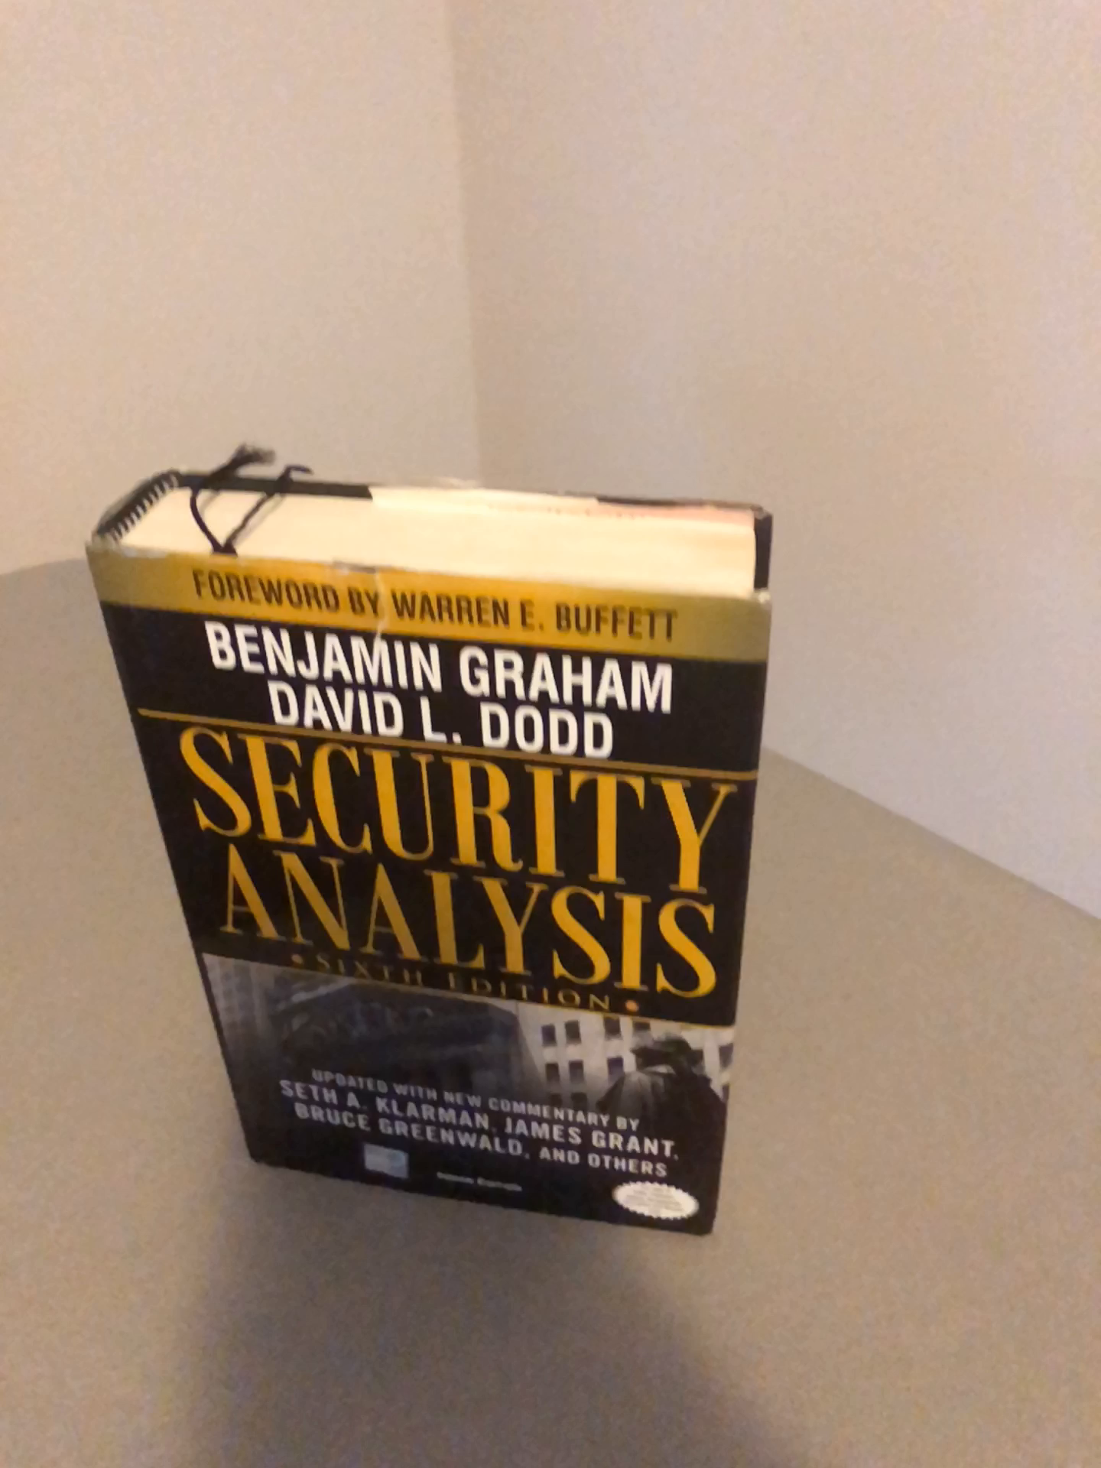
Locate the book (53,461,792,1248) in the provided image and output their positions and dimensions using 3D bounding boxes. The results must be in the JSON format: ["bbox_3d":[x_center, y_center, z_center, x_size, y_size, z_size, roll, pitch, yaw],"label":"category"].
[{"bbox_3d":[-0.025,0.045,0.352,0.164,0.231,0.047,6,36,11],"label":"book"}]
